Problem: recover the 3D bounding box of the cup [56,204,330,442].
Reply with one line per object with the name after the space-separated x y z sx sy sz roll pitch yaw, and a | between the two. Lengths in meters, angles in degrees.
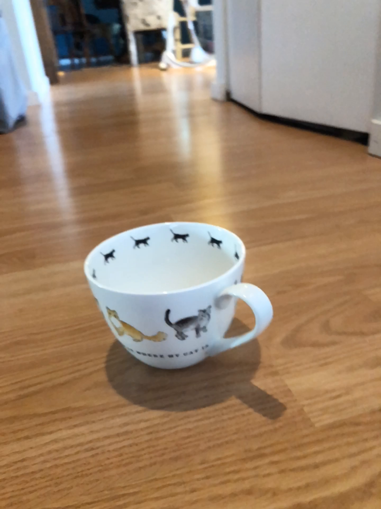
0.000 0.032 0.325 0.120 0.080 0.160 -27 34 -37 | cup
